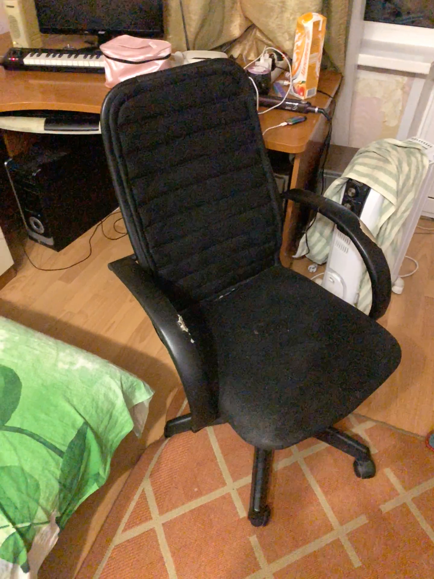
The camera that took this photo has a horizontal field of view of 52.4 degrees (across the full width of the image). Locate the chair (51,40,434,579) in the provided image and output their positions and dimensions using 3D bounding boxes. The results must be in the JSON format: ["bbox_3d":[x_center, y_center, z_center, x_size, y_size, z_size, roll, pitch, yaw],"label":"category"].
[{"bbox_3d":[0.157,0.052,1.122,0.672,0.991,0.724,-26,50,-26],"label":"chair"}]
